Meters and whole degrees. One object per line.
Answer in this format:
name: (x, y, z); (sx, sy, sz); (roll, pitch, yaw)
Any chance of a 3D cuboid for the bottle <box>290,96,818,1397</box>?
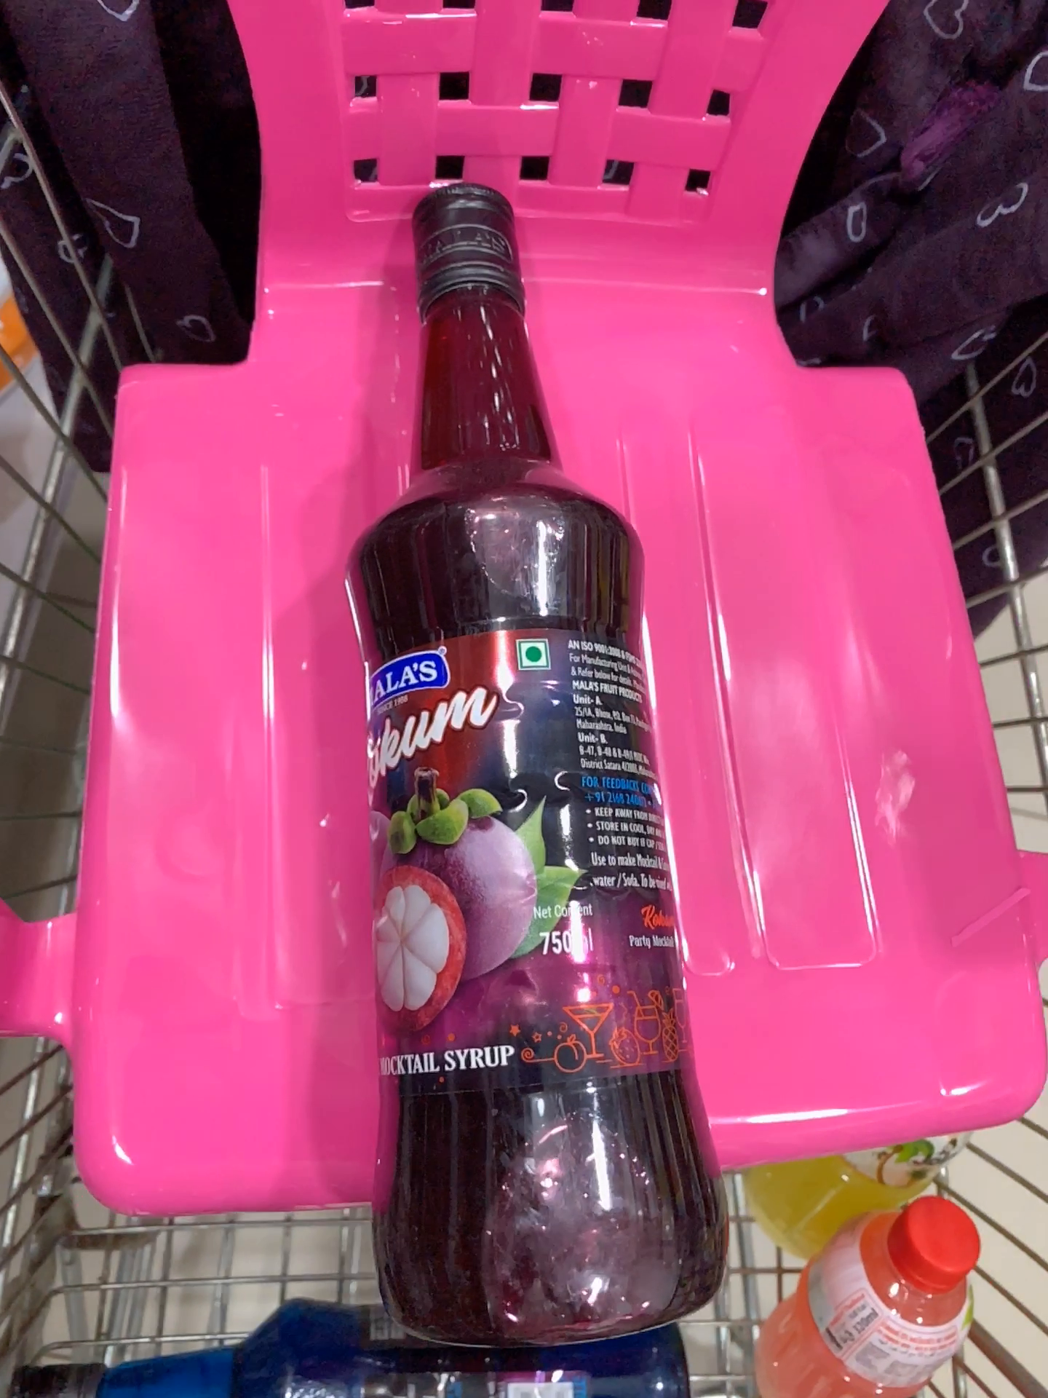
bottle: (-0.002, 0.004, 0.267); (0.080, 0.080, 0.260); (6, 73, -35)
